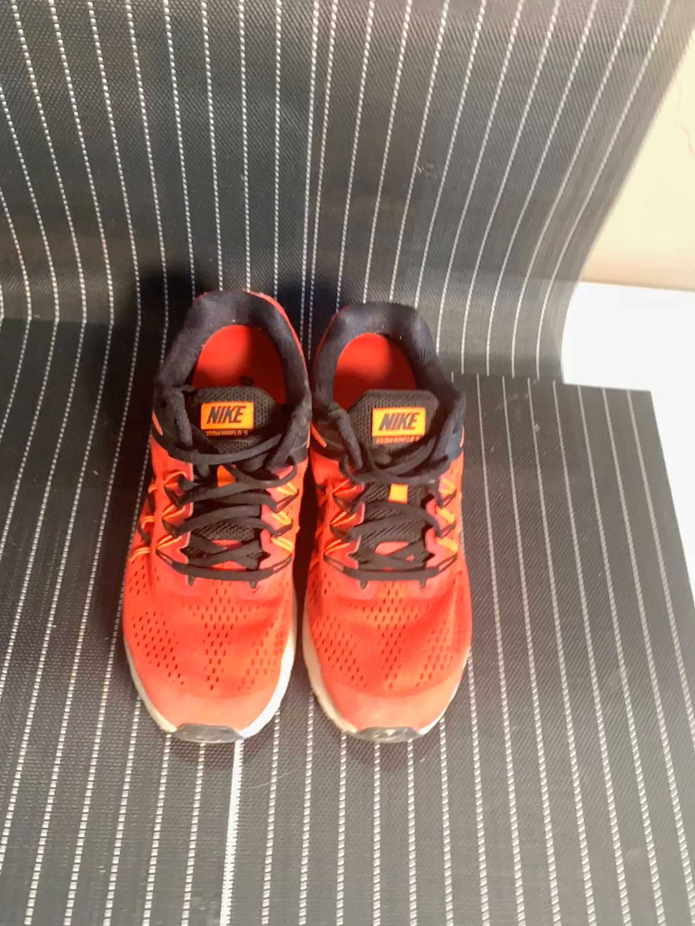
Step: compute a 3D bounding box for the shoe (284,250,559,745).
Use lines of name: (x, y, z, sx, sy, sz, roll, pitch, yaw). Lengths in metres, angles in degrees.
shoe: (0.024, 0.016, 0.428, 0.120, 0.110, 0.270, 1, 62, -7)

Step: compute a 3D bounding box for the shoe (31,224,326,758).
shoe: (-0.082, 0.011, 0.436, 0.120, 0.110, 0.300, 4, 62, -5)
